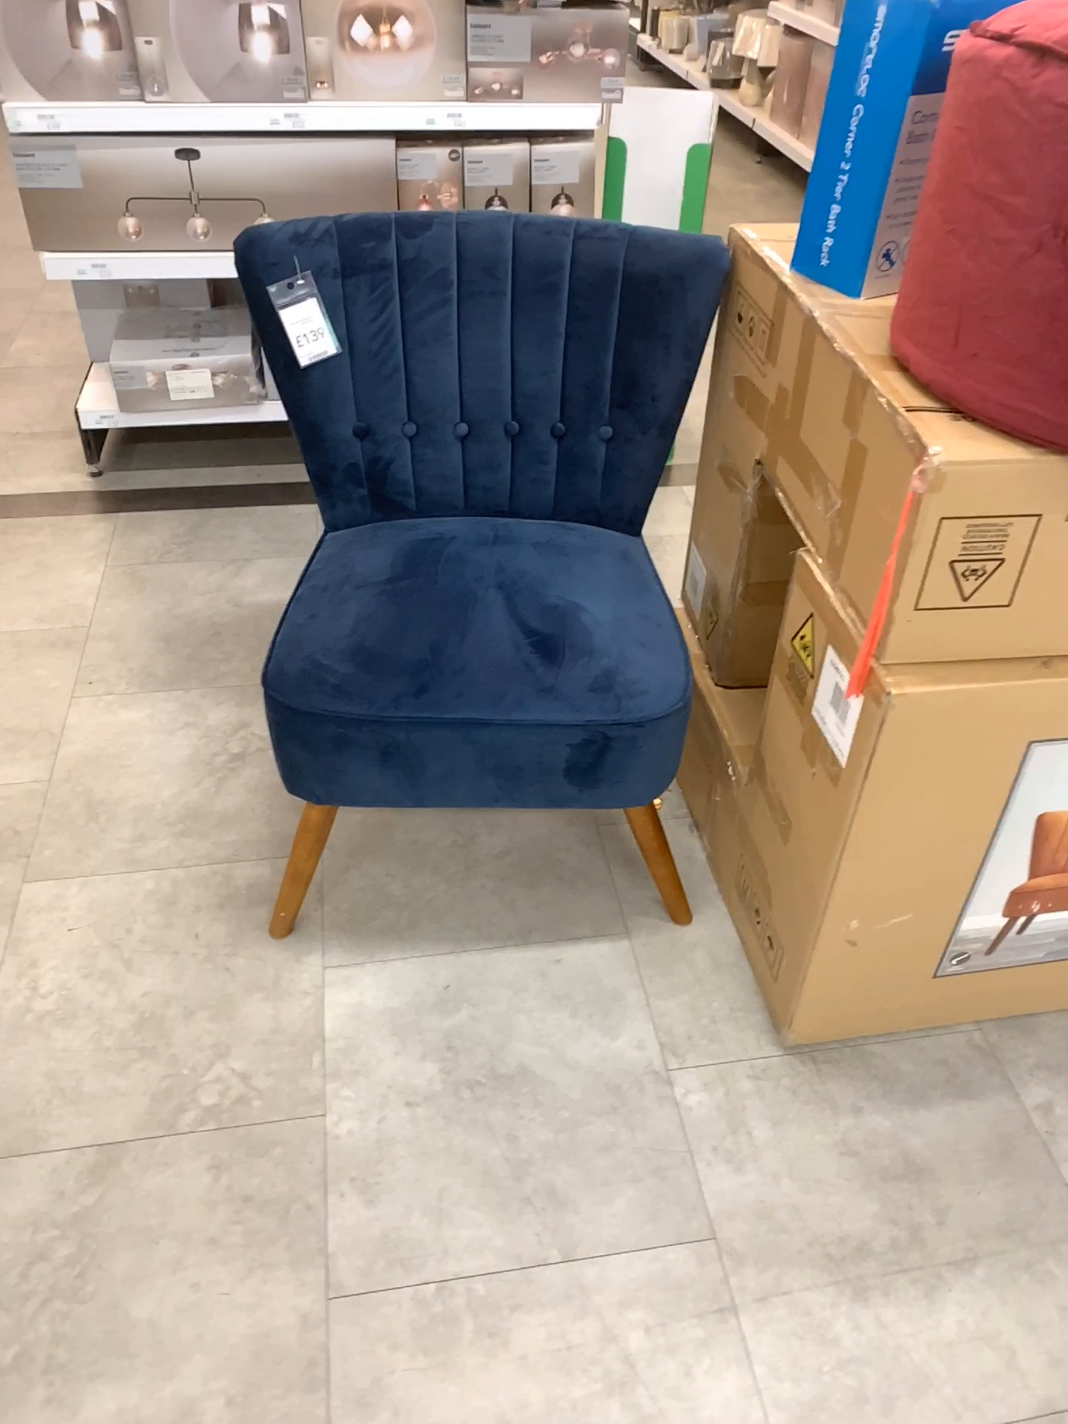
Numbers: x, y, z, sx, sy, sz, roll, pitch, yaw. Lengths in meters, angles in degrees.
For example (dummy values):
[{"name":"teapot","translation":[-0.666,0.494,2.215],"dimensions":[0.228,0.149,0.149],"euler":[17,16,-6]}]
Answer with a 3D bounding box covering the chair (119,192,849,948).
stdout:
[{"name":"chair","translation":[-0.075,-0.217,1.554],"dimensions":[0.690,0.792,0.727],"euler":[-1,39,-4]}]
